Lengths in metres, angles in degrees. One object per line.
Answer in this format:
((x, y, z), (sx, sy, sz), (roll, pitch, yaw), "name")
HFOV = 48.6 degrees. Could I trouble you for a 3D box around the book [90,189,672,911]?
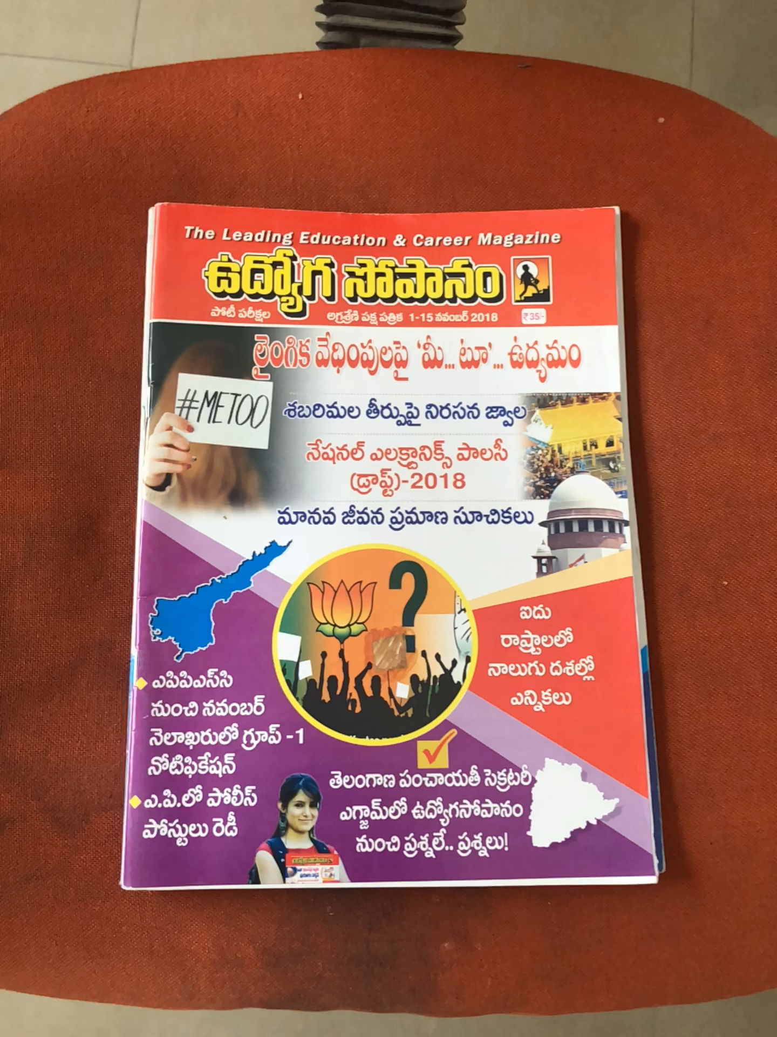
((-0.005, 0.005, 0.370), (0.217, 0.040, 0.295), (-1, 78, 1), "book")
